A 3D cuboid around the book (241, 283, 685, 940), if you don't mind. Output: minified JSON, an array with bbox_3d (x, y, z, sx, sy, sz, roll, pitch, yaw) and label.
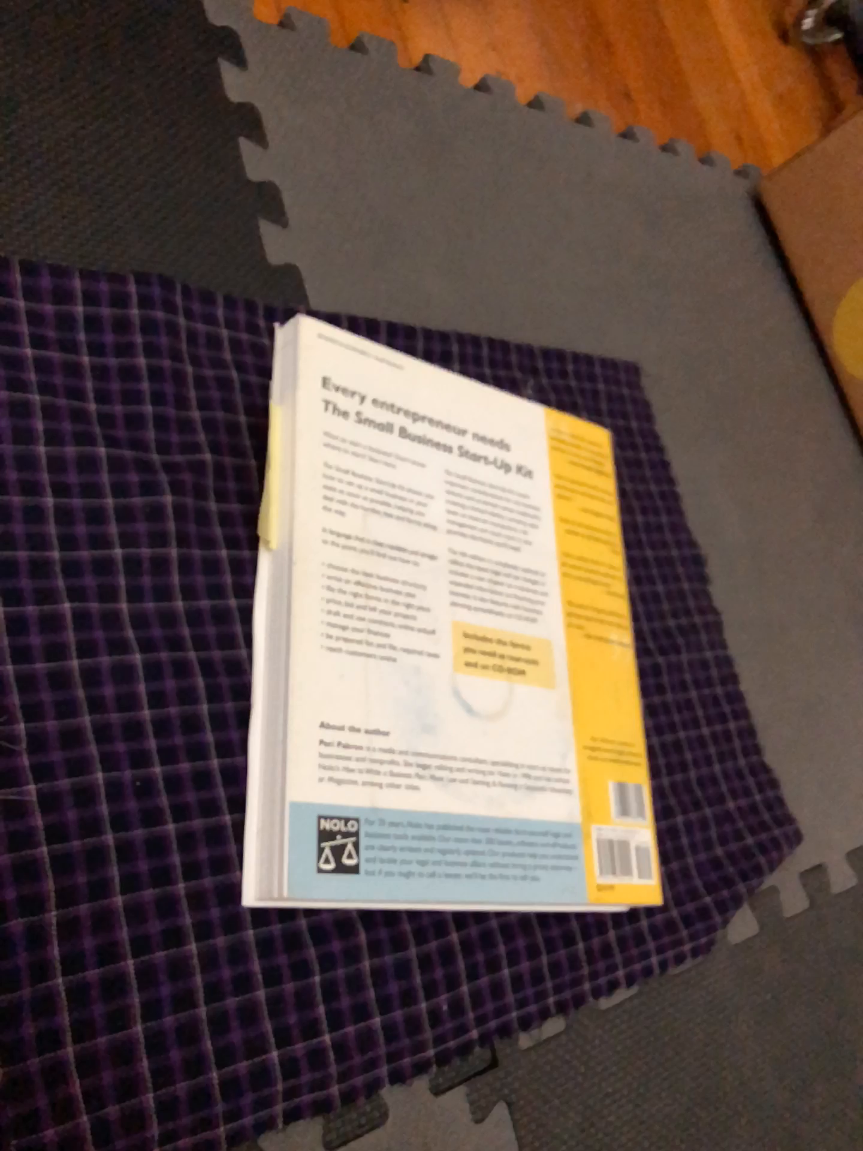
[{"bbox_3d":[0.021,0.022,0.500,0.231,0.030,0.311,14,62,-33],"label":"book"}]
